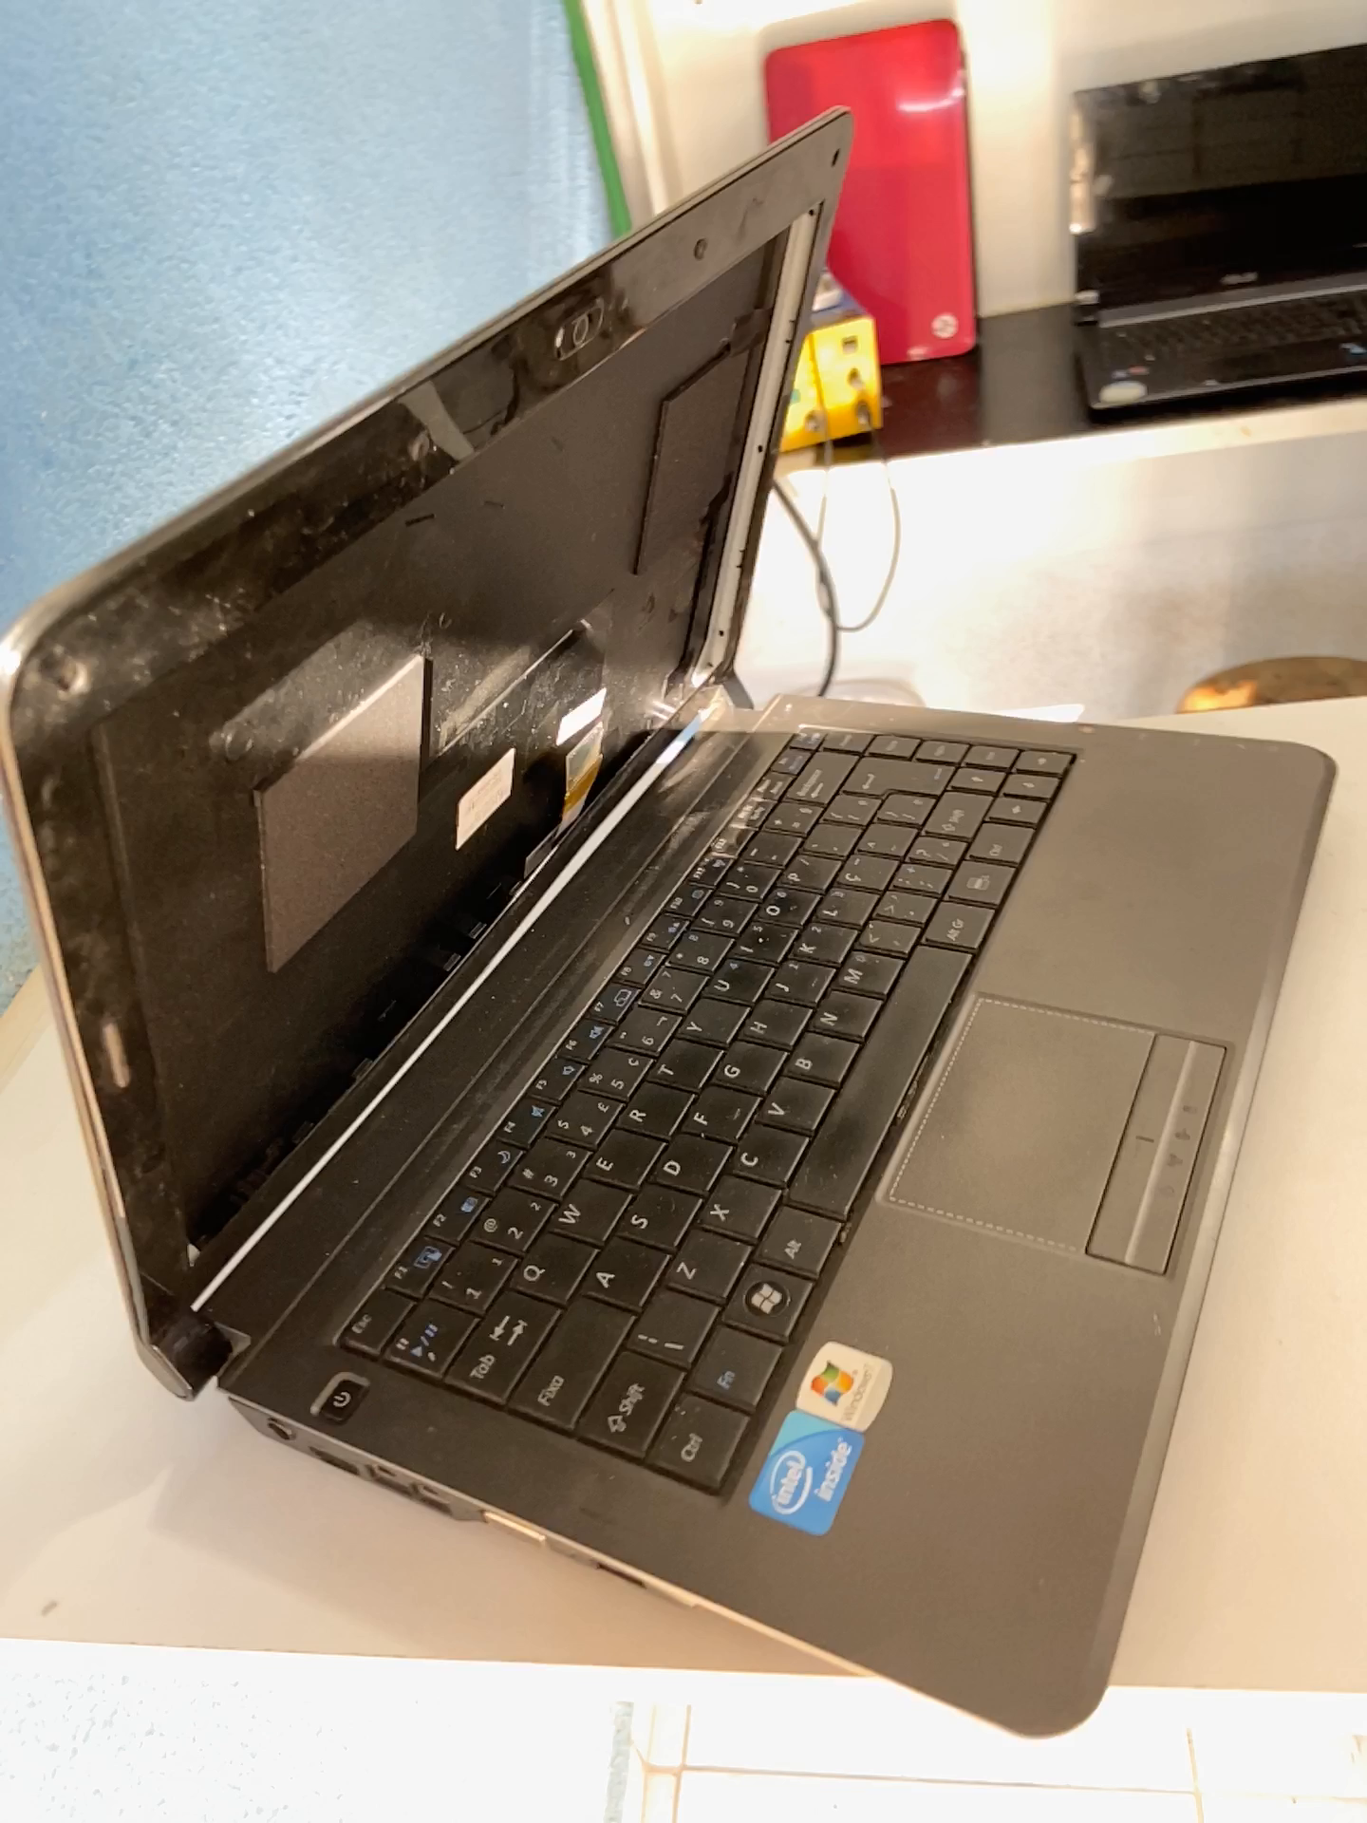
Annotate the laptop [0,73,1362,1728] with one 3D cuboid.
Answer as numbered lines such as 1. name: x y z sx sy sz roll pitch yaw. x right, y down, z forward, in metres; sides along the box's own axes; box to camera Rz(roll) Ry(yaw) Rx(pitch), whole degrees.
1. laptop: 0.028 -0.047 0.355 0.206 0.206 0.332 9 42 28
